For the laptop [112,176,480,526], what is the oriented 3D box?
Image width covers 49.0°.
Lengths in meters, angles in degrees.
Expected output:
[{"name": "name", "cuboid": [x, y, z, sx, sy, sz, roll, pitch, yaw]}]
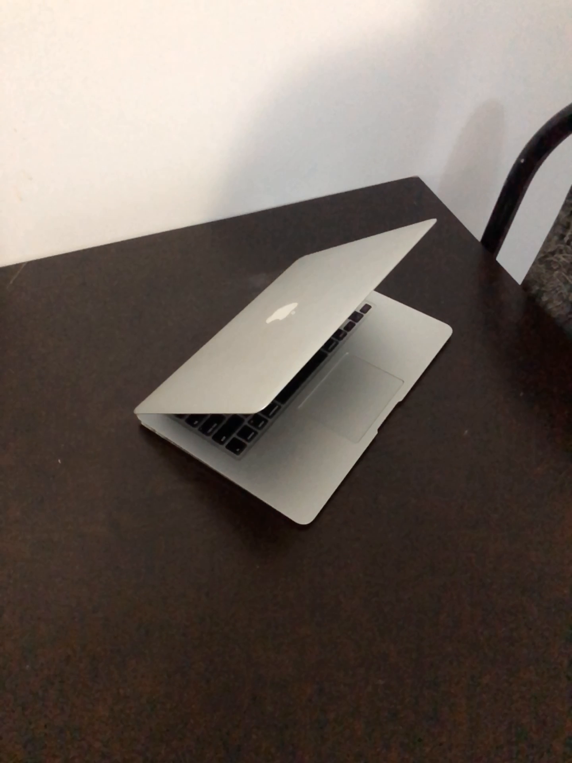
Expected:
[{"name": "laptop", "cuboid": [0.024, -0.057, 0.682, 0.226, 0.131, 0.331, 28, 54, 22]}]
